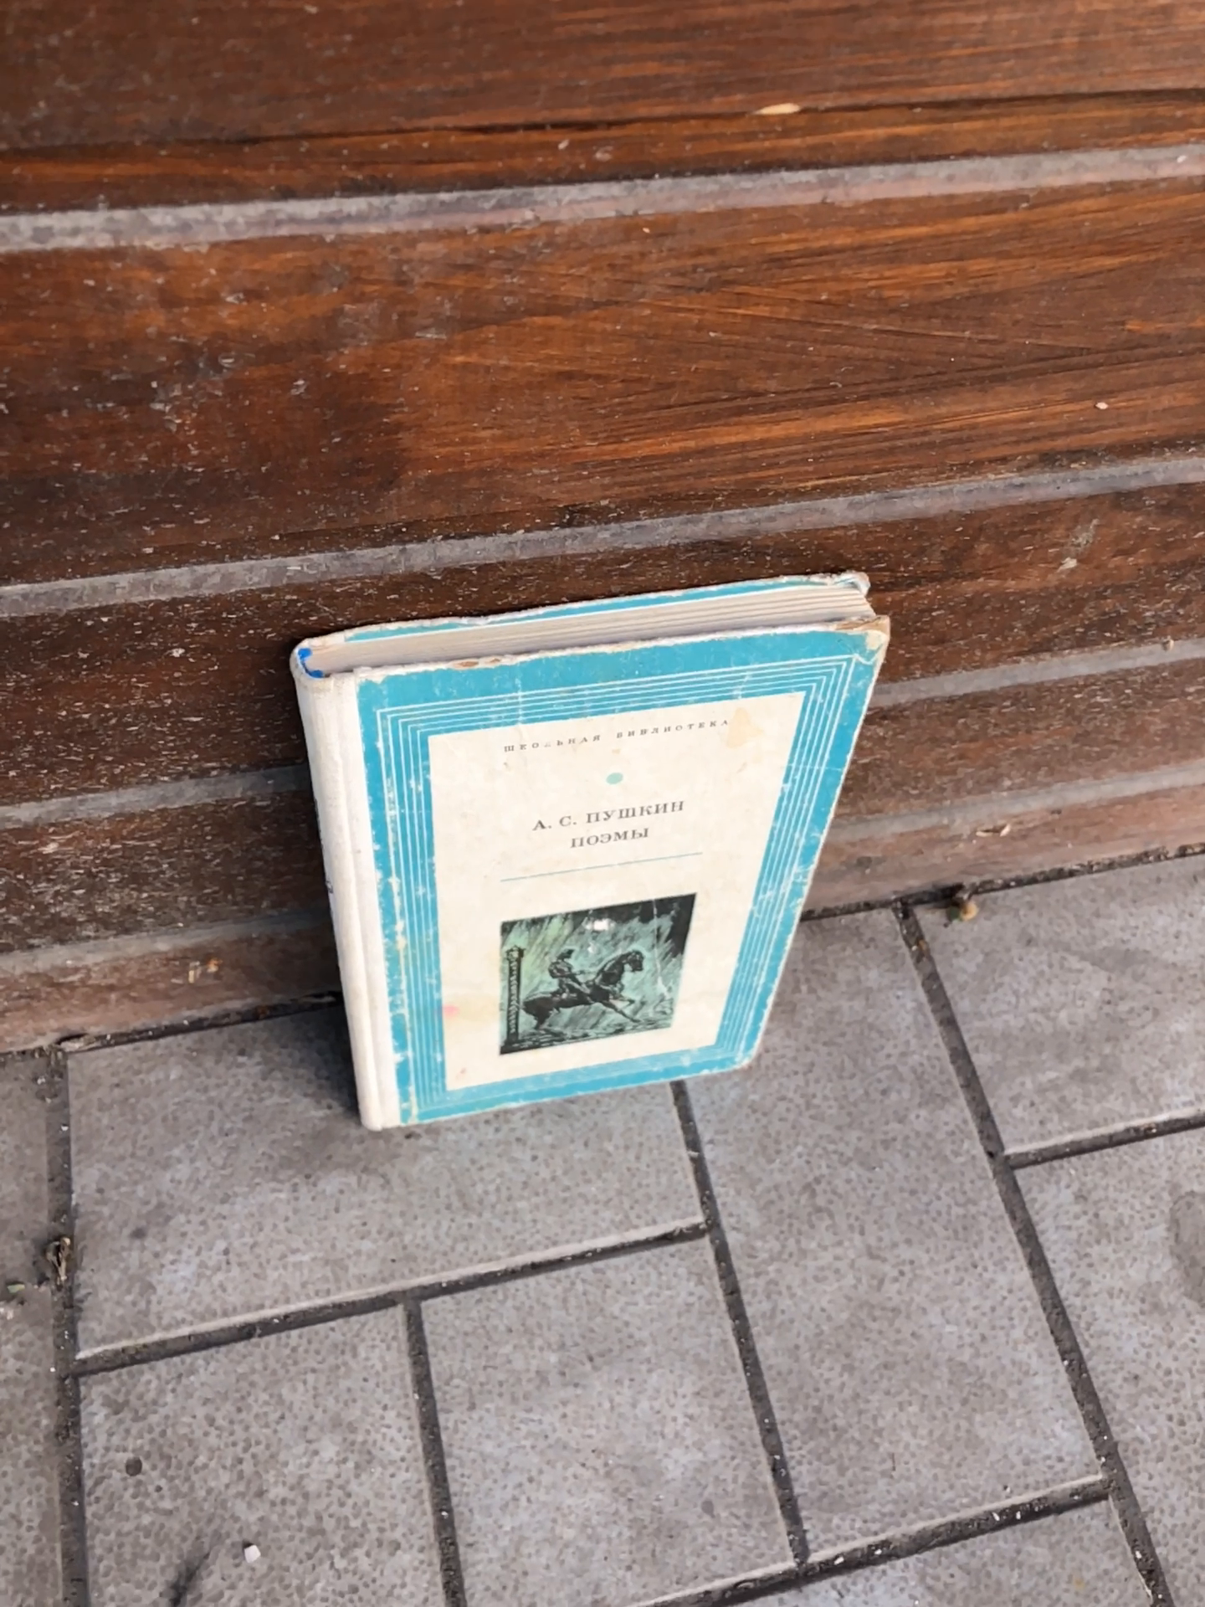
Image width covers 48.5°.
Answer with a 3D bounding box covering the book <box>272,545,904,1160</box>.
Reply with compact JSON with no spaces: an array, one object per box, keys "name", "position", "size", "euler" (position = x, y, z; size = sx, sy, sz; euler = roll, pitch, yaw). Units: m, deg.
[{"name":"book","position":[-0.008,0.024,0.352],"size":[0.130,0.190,0.030],"euler":[-8,49,-11]}]
